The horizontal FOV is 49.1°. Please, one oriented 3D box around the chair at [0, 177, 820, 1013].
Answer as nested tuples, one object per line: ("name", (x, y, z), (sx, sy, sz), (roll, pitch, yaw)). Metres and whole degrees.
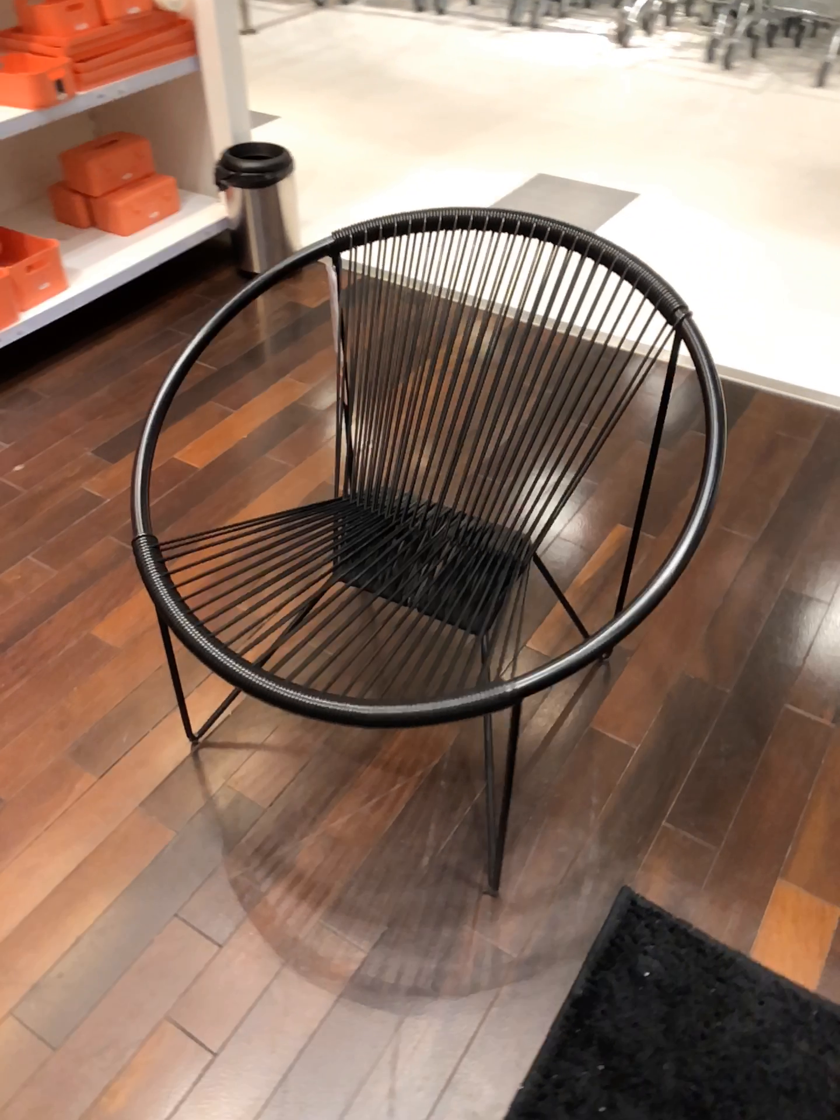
("chair", (0.027, -0.024, 1.285), (0.701, 0.675, 0.734), (20, 44, 22))
